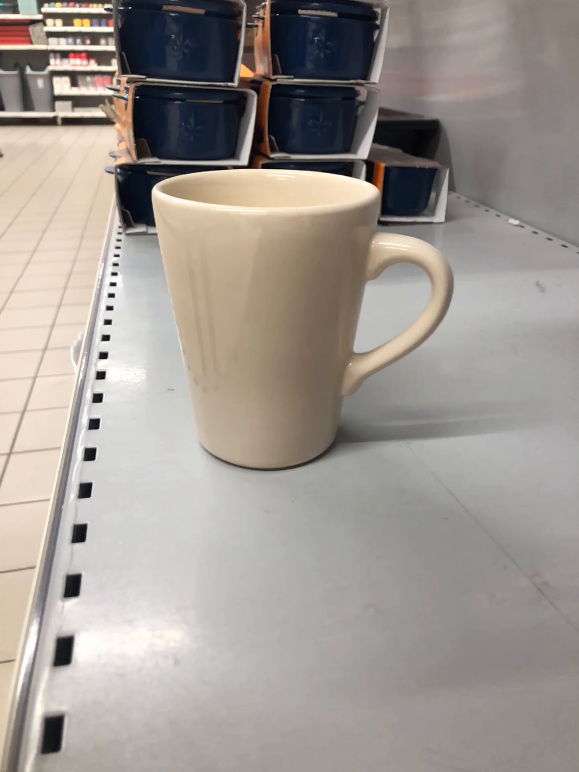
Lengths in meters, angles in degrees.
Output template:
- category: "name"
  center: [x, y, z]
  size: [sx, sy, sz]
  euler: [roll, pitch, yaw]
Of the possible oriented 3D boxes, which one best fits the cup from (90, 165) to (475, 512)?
- category: "cup"
  center: [0.002, -0.027, 0.255]
  size: [0.119, 0.099, 0.082]
  euler: [9, 28, 18]
